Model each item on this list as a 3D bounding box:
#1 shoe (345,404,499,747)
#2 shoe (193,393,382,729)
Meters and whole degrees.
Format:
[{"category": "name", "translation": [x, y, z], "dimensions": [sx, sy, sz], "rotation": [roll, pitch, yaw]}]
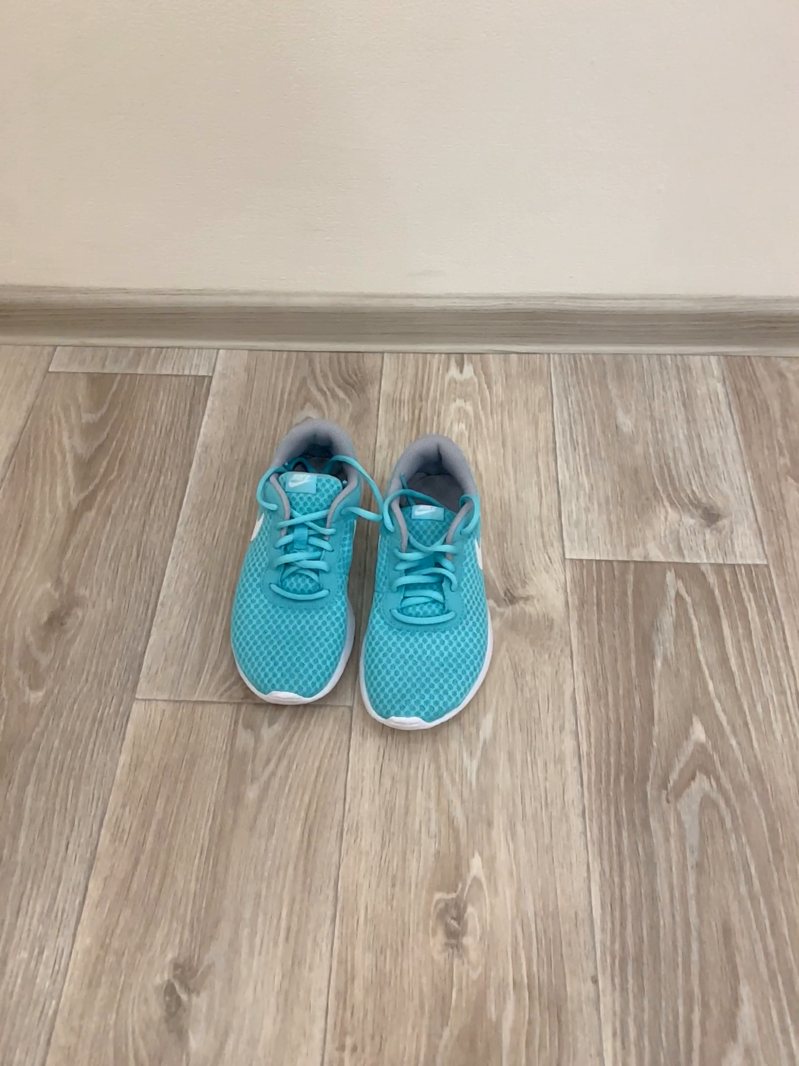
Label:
[{"category": "shoe", "translation": [0.024, 0.025, 0.635], "dimensions": [0.098, 0.090, 0.251], "rotation": [3, 56, 3]}, {"category": "shoe", "translation": [-0.076, 0.015, 0.647], "dimensions": [0.101, 0.090, 0.251], "rotation": [3, 56, 3]}]
